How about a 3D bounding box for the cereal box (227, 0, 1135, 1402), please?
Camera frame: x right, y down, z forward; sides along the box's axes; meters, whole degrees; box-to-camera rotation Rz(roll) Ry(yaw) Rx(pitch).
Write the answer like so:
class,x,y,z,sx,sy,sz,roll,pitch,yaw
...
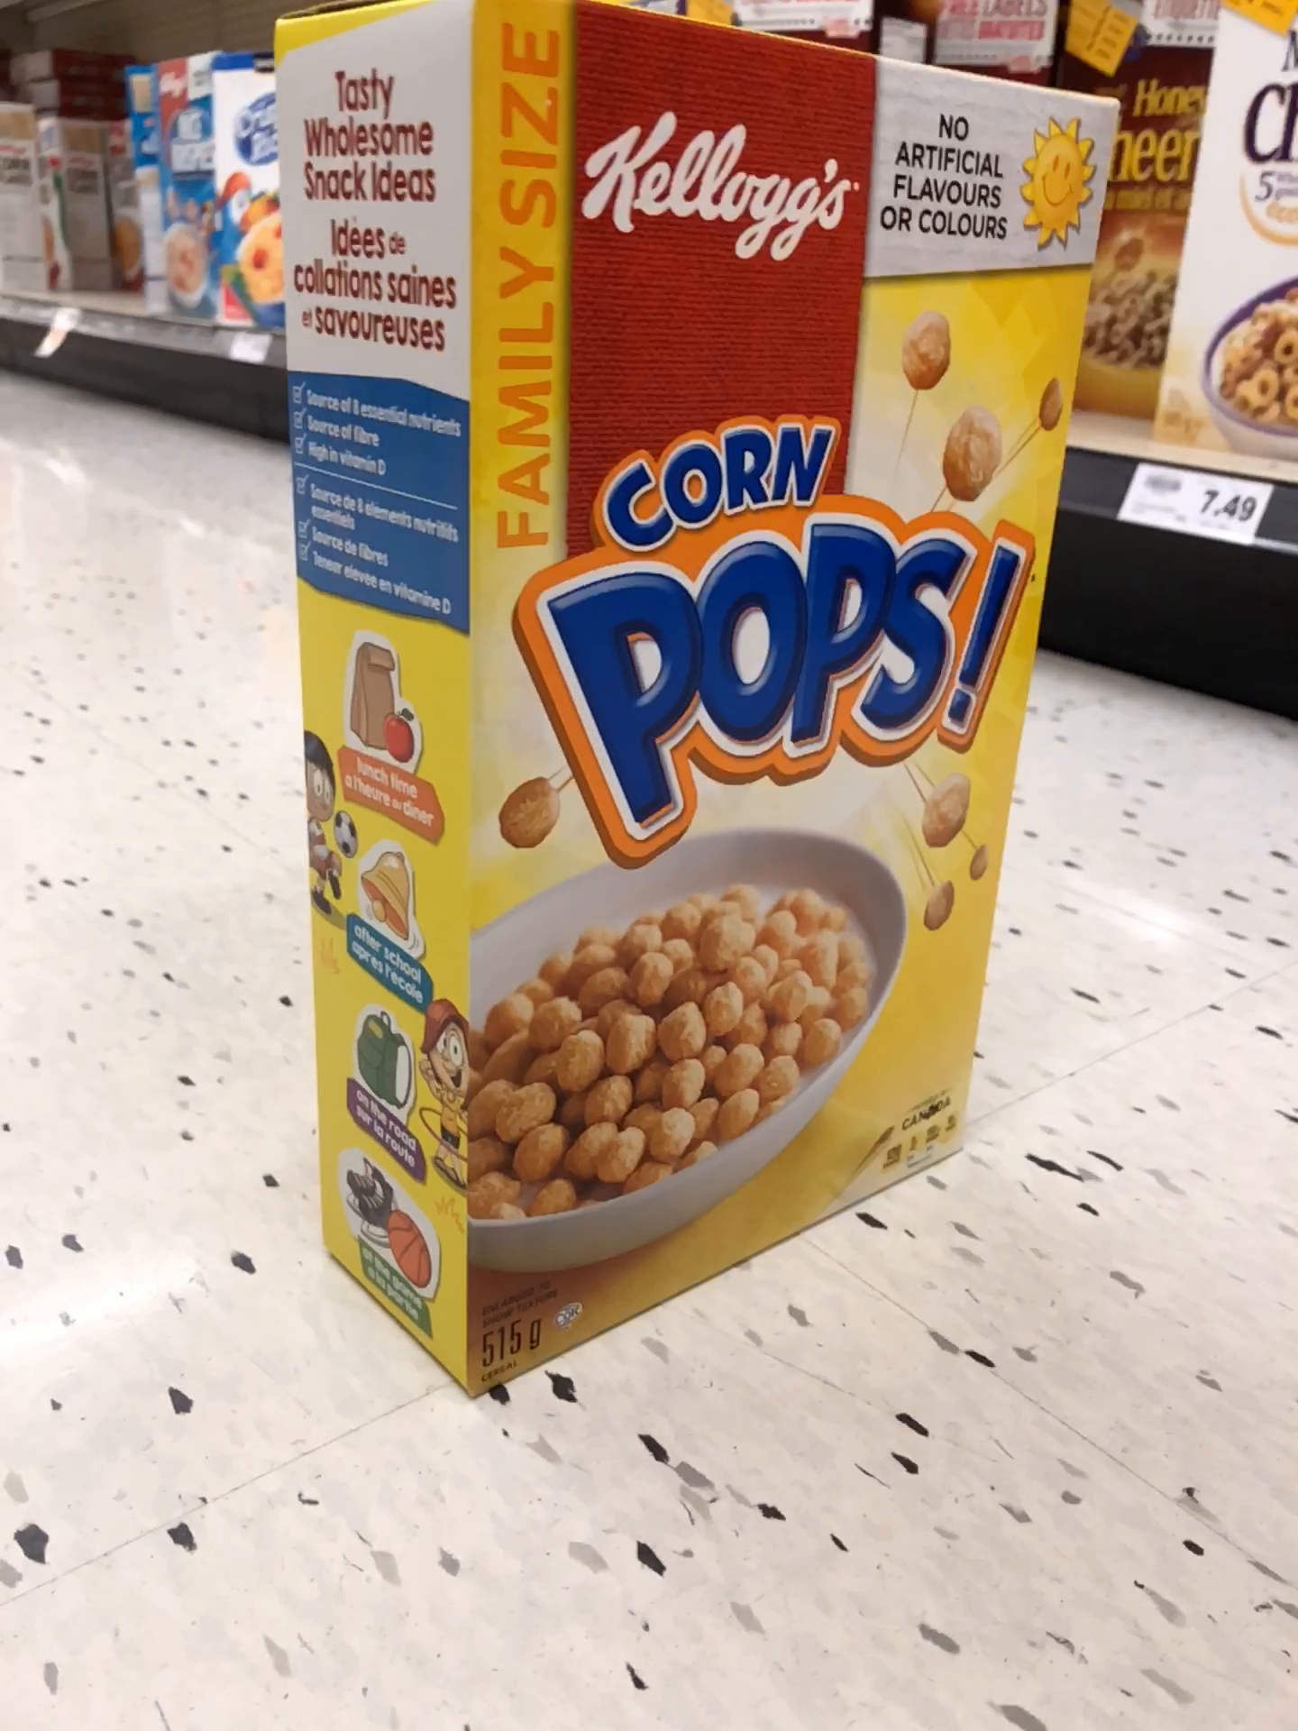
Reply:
class,x,y,z,sx,sy,sz,roll,pitch,yaw
cereal box,0.008,-0.049,0.401,0.200,0.318,0.100,-15,28,-38
